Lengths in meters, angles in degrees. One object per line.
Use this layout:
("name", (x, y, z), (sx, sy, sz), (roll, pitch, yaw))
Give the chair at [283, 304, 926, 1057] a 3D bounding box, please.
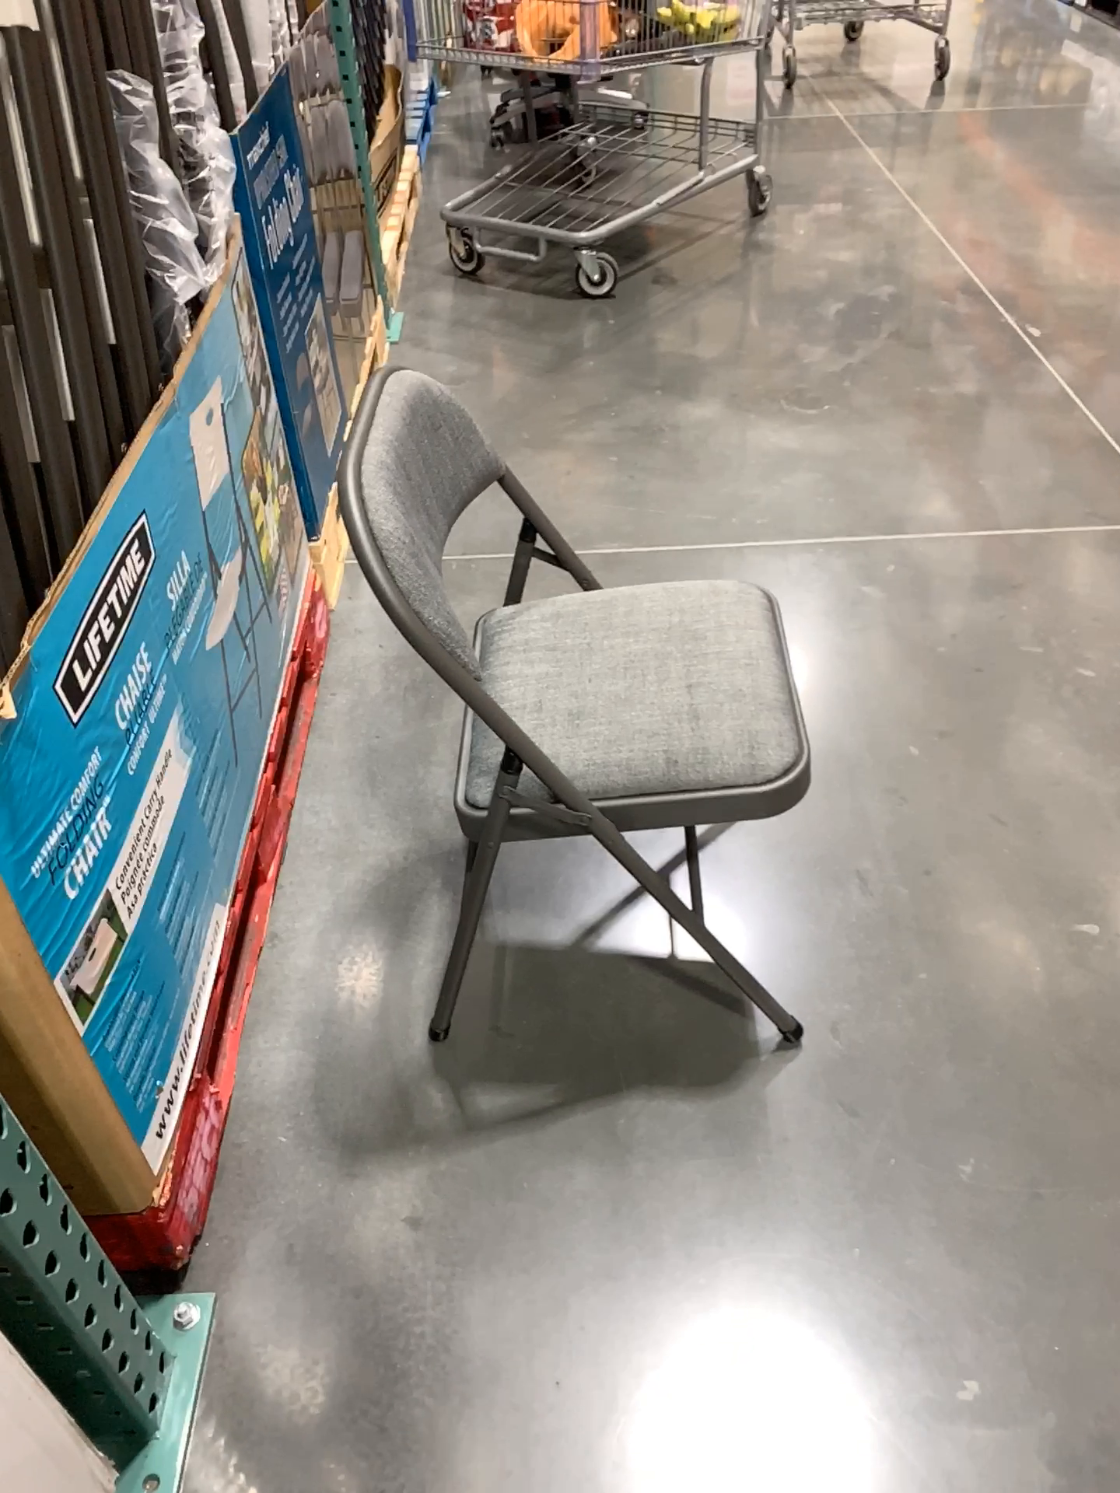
("chair", (0.041, -0.060, 1.309), (0.502, 0.688, 0.497), (-1, 42, 1))
